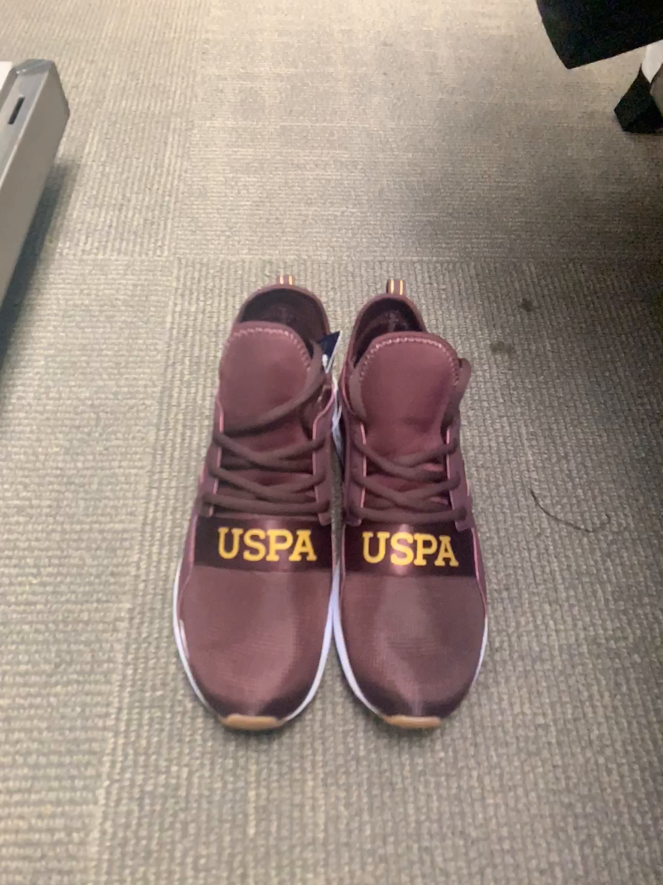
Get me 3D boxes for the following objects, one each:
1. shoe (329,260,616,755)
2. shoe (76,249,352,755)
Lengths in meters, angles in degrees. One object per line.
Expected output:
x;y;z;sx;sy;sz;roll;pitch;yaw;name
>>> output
0.054;0.036;0.388;0.103;0.149;0.242;1;55;-3;shoe
-0.049;0.033;0.385;0.103;0.155;0.243;1;55;-3;shoe
